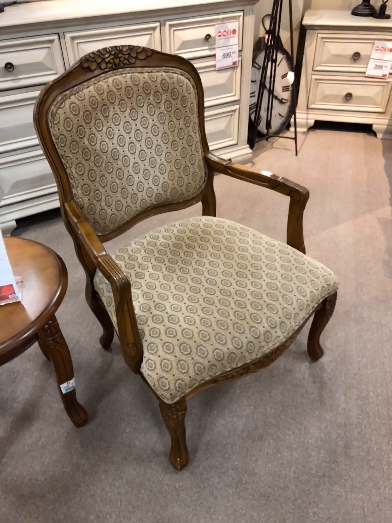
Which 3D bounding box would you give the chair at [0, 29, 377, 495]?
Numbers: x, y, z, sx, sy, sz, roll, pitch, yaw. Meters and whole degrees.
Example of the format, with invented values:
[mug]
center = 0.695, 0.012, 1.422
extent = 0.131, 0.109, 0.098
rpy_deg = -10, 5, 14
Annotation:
[chair]
center = -0.090, -0.041, 1.365
extent = 0.782, 1.063, 0.703
rpy_deg = -27, 45, -29
